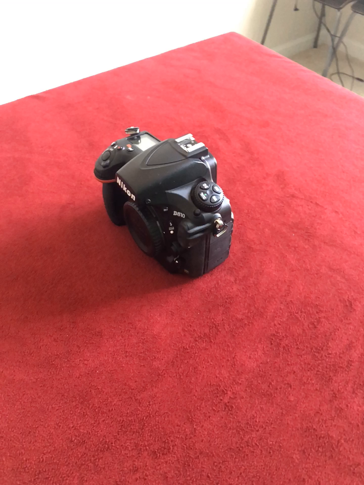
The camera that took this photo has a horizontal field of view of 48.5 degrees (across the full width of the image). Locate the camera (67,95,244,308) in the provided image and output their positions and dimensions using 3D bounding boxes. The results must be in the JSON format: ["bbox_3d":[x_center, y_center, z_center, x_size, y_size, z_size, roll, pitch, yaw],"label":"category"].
[{"bbox_3d":[-0.026,-0.042,0.394,0.083,0.129,0.146,-30,54,-23],"label":"camera"}]
